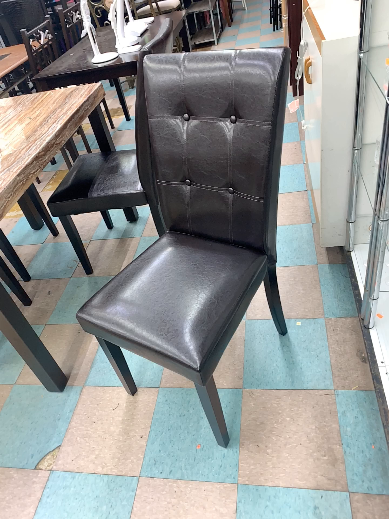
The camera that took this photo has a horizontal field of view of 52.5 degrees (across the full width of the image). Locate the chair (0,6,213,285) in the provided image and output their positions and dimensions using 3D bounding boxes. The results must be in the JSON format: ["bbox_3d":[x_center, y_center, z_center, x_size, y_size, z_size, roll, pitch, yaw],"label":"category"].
[{"bbox_3d":[-0.331,-0.486,1.821,0.650,0.955,0.673,-6,40,11],"label":"chair"}]

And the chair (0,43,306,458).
[{"bbox_3d":[-0.023,-0.004,1.149,0.471,0.955,0.572,16,49,32],"label":"chair"}]
